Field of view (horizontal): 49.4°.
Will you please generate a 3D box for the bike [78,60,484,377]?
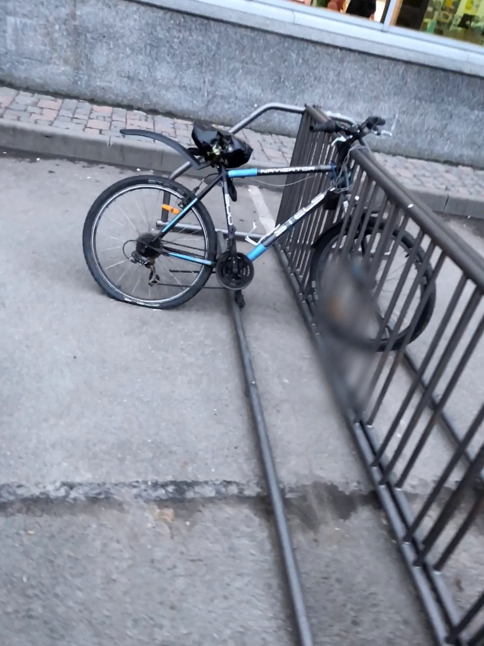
[{"bbox_3d":[0.095,-0.506,2.445,1.584,1.051,0.537,14,32,7],"label":"bike"}]
